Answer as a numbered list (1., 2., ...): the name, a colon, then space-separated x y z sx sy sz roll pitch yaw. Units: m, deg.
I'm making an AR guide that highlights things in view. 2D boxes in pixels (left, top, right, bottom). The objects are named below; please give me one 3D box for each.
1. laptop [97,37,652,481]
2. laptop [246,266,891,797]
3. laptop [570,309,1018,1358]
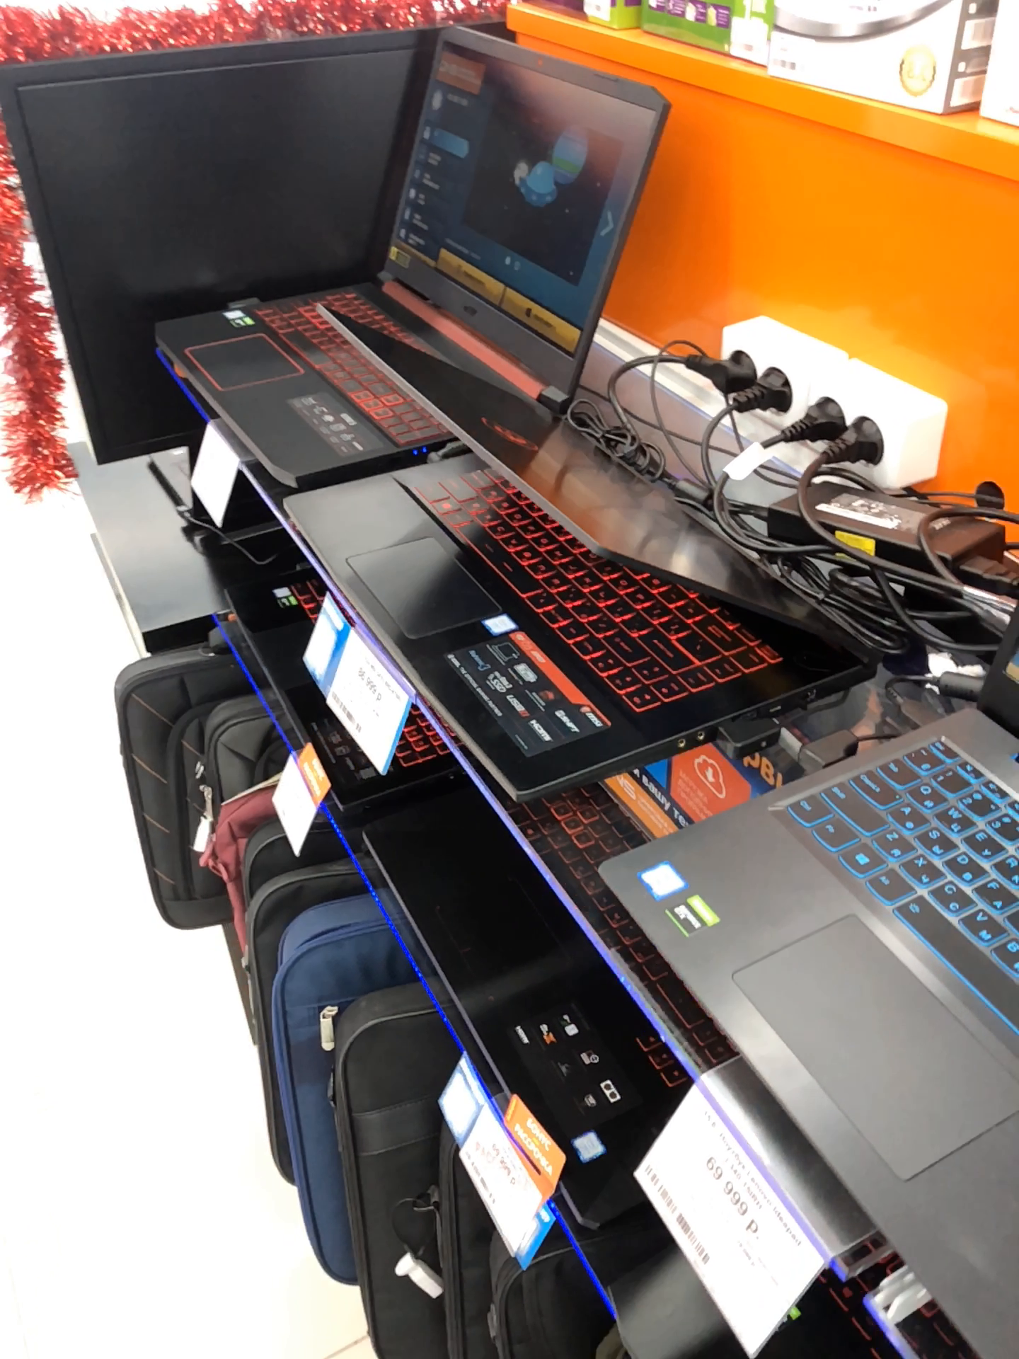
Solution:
1. laptop: -0.122 -0.388 0.966 0.329 0.225 0.366 -19 42 -23
2. laptop: 0.013 -0.121 0.693 0.226 0.134 0.348 -19 42 -22
3. laptop: 0.233 0.044 0.380 0.278 0.228 0.327 -15 38 -19
